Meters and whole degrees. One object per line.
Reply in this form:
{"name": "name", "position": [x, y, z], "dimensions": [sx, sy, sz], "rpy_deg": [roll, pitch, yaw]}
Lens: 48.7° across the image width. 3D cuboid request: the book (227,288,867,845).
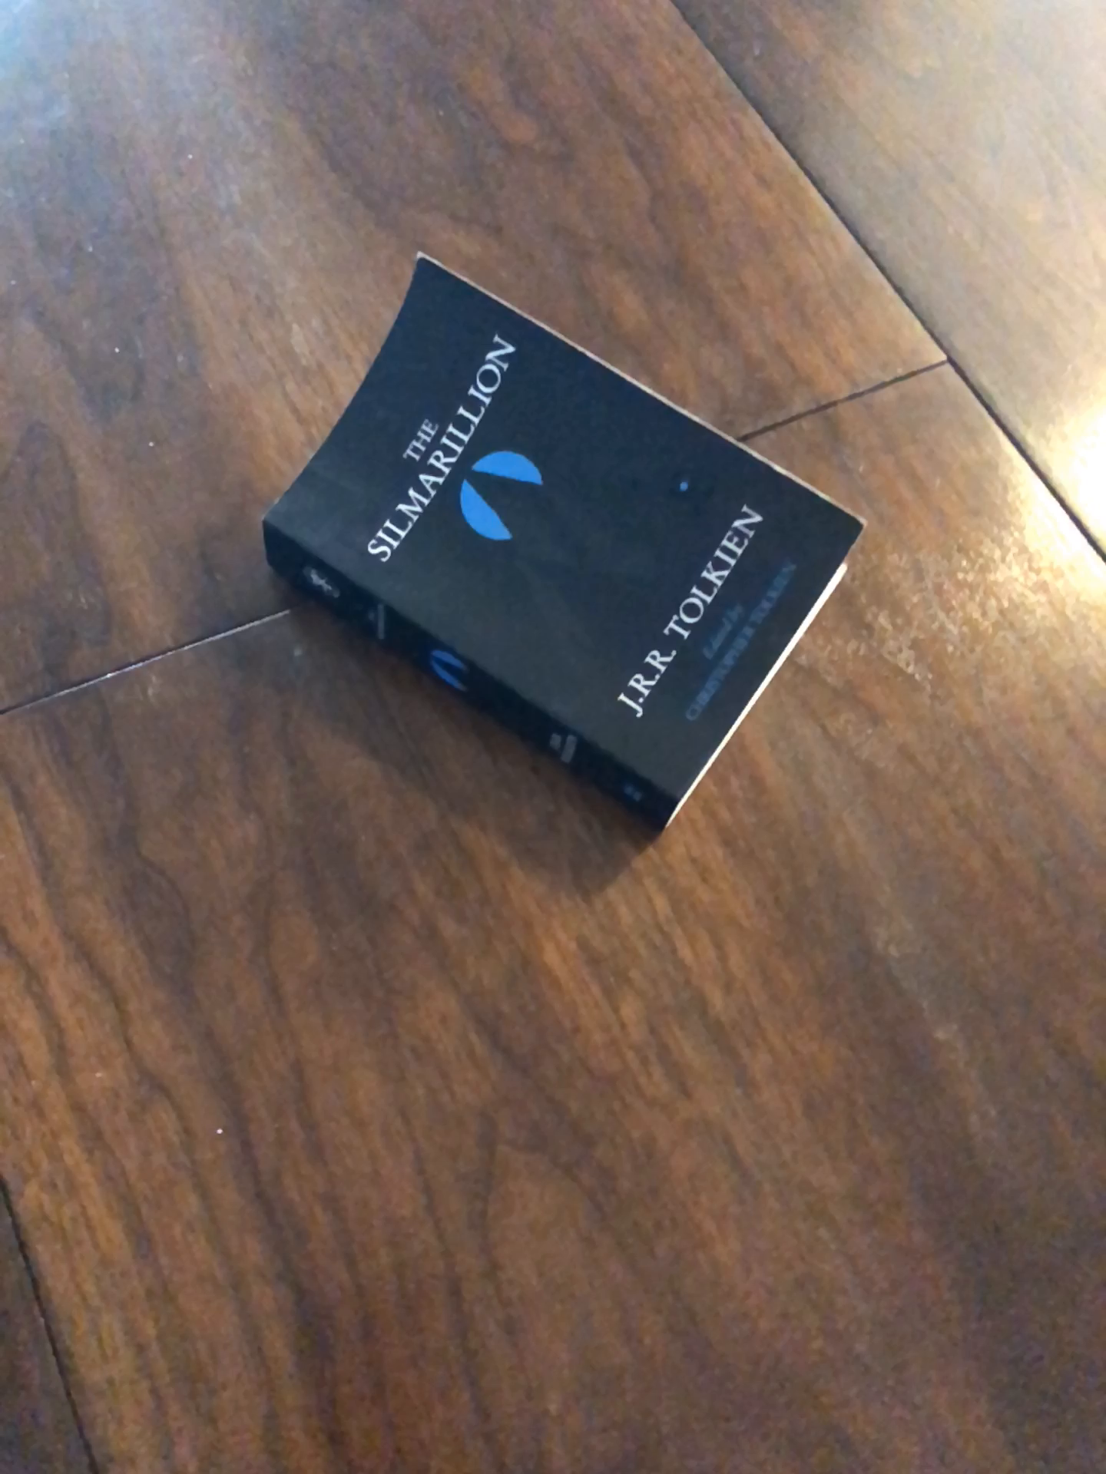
{"name": "book", "position": [-0.002, -0.064, 0.429], "dimensions": [0.180, 0.040, 0.119], "rpy_deg": [33, 67, 9]}
